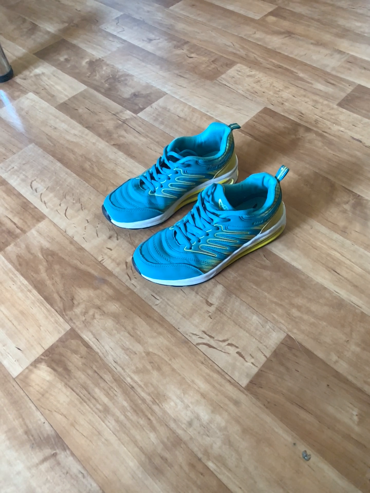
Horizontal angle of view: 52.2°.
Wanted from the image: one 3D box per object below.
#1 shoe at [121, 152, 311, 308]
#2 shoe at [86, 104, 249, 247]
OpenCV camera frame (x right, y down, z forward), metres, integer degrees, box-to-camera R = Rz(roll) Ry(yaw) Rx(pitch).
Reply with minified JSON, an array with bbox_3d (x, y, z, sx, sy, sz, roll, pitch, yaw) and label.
[{"bbox_3d":[0.045,-0.025,0.566,0.240,0.120,0.100,-24,60,-12],"label":"shoe"},{"bbox_3d":[-0.025,-0.118,0.630,0.230,0.120,0.100,-28,63,-15],"label":"shoe"}]
